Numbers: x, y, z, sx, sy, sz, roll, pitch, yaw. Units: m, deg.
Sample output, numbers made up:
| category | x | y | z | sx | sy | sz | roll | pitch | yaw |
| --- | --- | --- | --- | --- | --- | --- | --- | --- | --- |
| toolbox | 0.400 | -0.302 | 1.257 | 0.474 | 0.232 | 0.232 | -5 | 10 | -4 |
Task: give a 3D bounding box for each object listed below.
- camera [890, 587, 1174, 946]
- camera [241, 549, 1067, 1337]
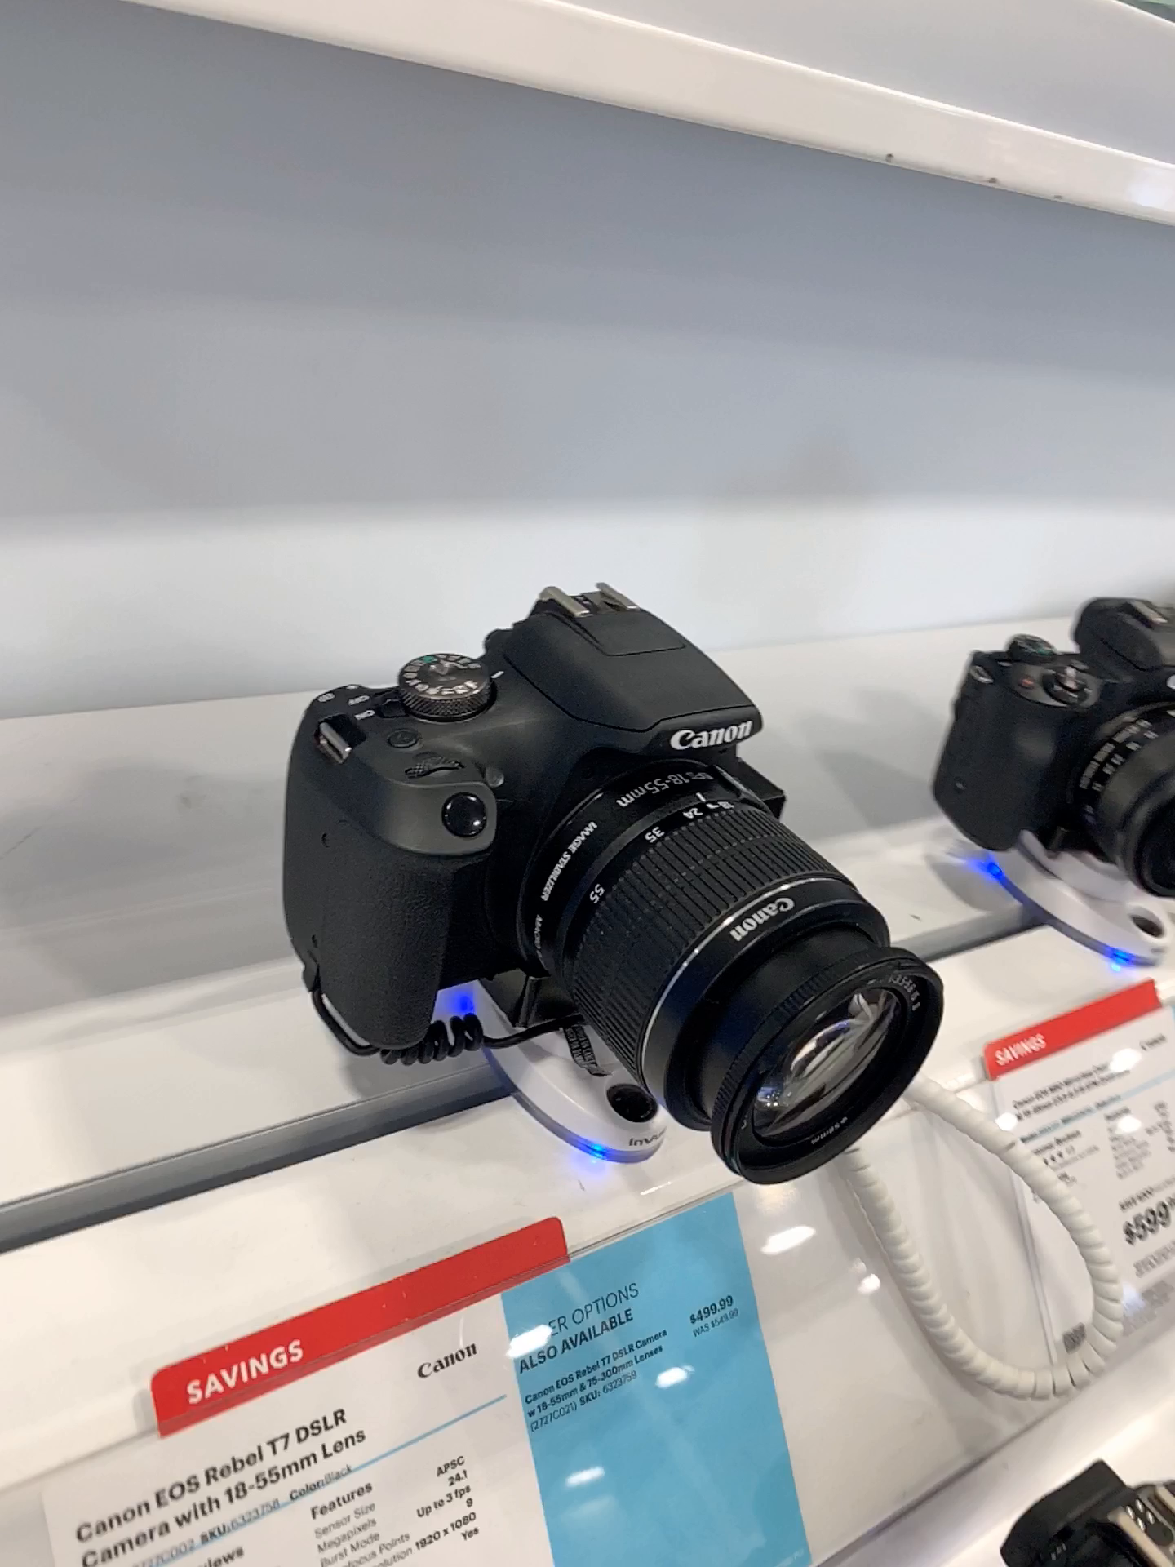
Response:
| category | x | y | z | sx | sy | sz | roll | pitch | yaw |
| --- | --- | --- | --- | --- | --- | --- | --- | --- | --- |
| camera | 0.200 | -0.012 | 0.441 | 0.121 | 0.080 | 0.103 | -4 | 34 | -25 |
| camera | 0.003 | 0.021 | 0.295 | 0.125 | 0.099 | 0.141 | -10 | 37 | -33 |
